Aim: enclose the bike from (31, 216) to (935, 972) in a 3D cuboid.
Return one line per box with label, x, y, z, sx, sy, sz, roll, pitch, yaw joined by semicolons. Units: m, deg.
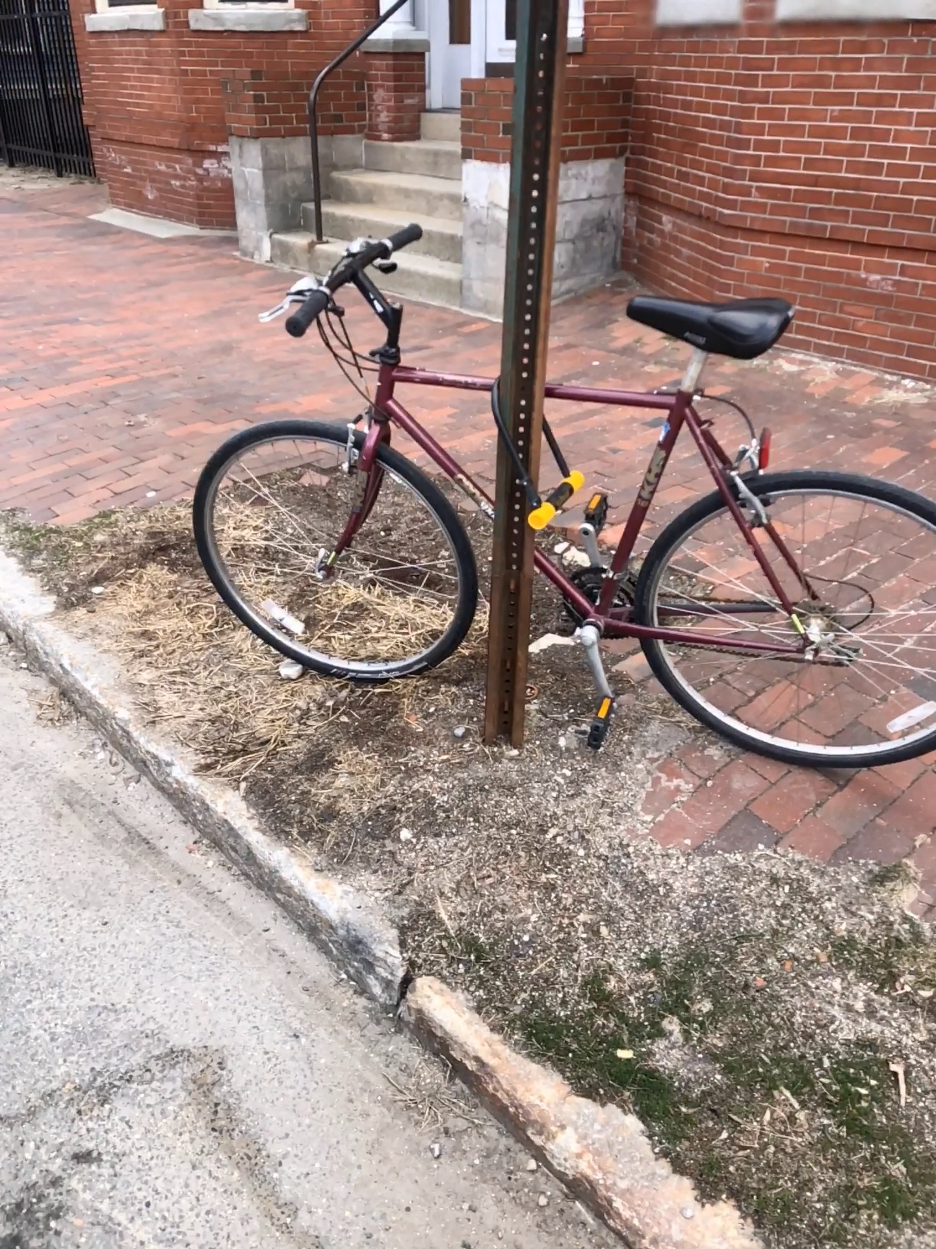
bike;0.167;-0.175;1.992;1.726;1.011;0.671;11;30;18
